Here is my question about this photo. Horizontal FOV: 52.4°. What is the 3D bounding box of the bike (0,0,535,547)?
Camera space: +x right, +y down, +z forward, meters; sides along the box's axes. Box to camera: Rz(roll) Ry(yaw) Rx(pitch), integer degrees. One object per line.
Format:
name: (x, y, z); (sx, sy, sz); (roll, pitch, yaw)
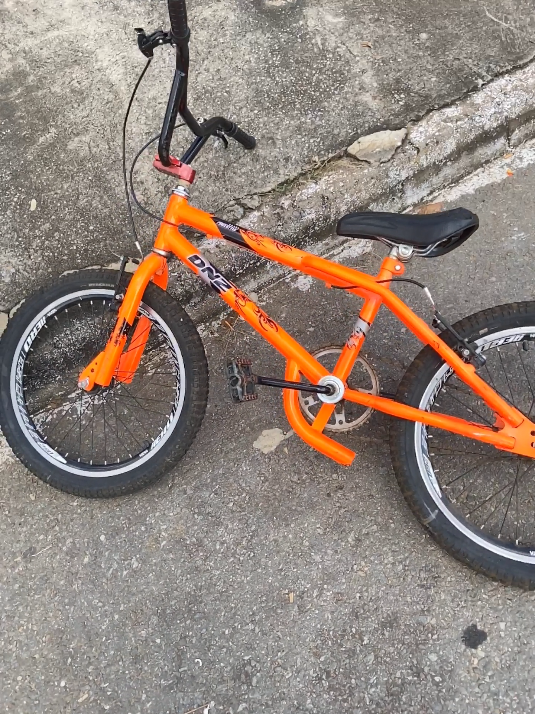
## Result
bike: (0.141, -0.286, 1.061); (1.354, 0.858, 0.748); (10, 59, 16)
